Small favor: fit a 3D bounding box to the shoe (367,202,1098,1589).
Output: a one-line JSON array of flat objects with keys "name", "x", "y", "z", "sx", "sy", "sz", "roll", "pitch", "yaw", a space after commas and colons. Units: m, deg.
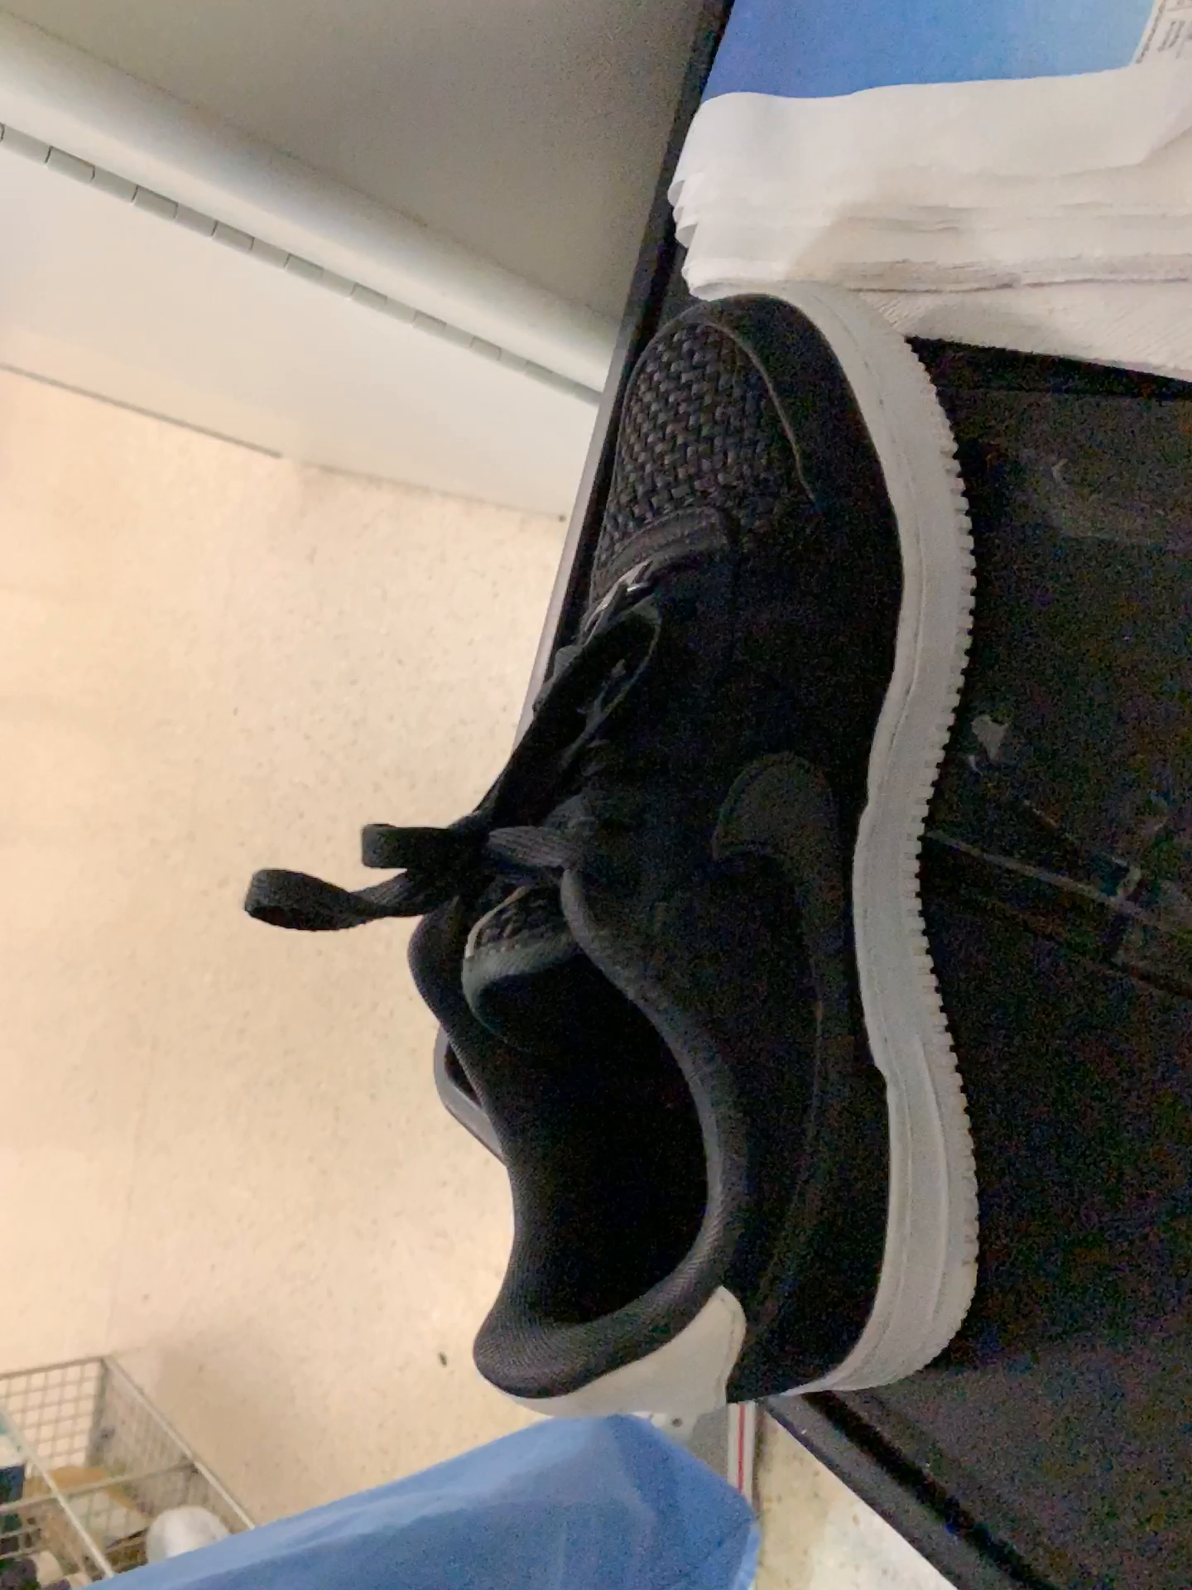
[{"name": "shoe", "x": 0.024, "y": 0.027, "z": 0.240, "sx": 0.090, "sy": 0.094, "sz": 0.225, "roll": -11, "pitch": 74, "yaw": 46}]
